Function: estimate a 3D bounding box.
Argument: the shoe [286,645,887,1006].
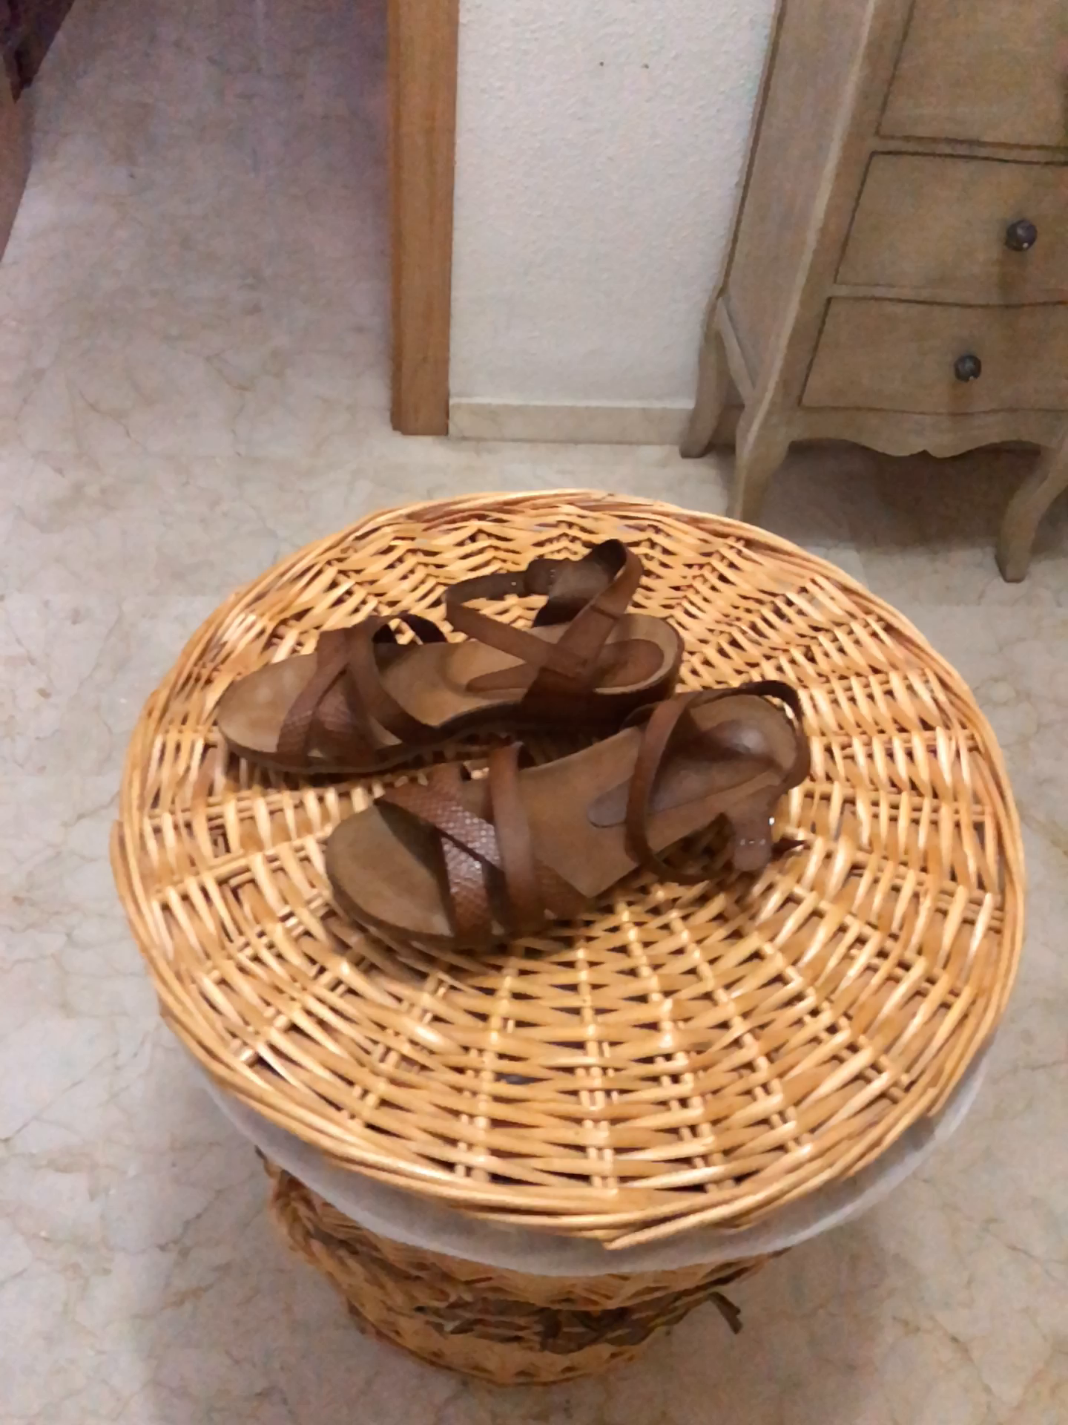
[{"bbox_3d":[0.026,0.050,0.601,0.280,0.060,0.100,-14,52,-17],"label":"shoe"}]

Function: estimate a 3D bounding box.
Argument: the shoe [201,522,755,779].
[{"bbox_3d":[-0.029,-0.034,0.653,0.280,0.070,0.100,-4,49,2],"label":"shoe"}]
